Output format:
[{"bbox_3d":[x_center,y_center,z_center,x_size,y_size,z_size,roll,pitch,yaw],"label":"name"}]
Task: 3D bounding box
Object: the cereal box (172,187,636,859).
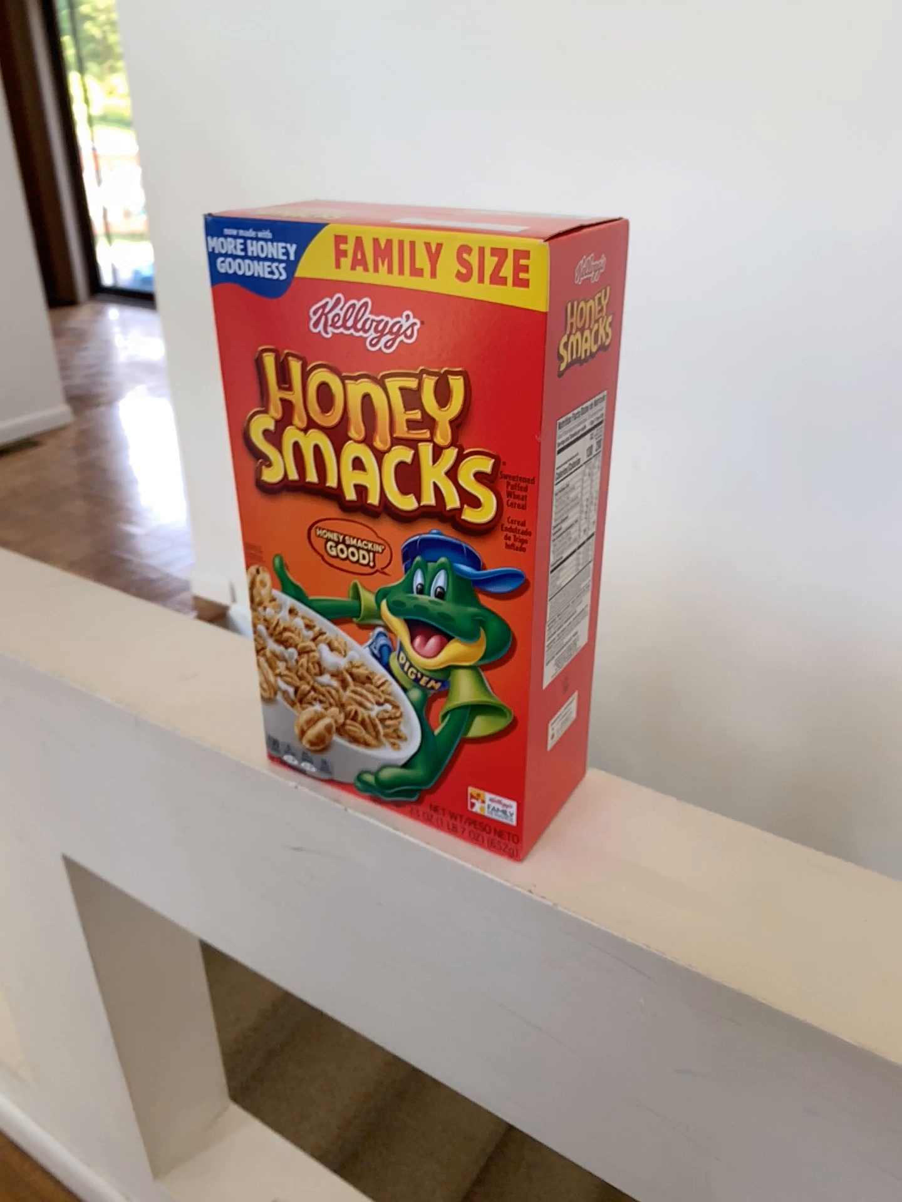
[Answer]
[{"bbox_3d":[-0.026,-0.048,0.540,0.210,0.338,0.100,16,31,27],"label":"cereal box"}]
